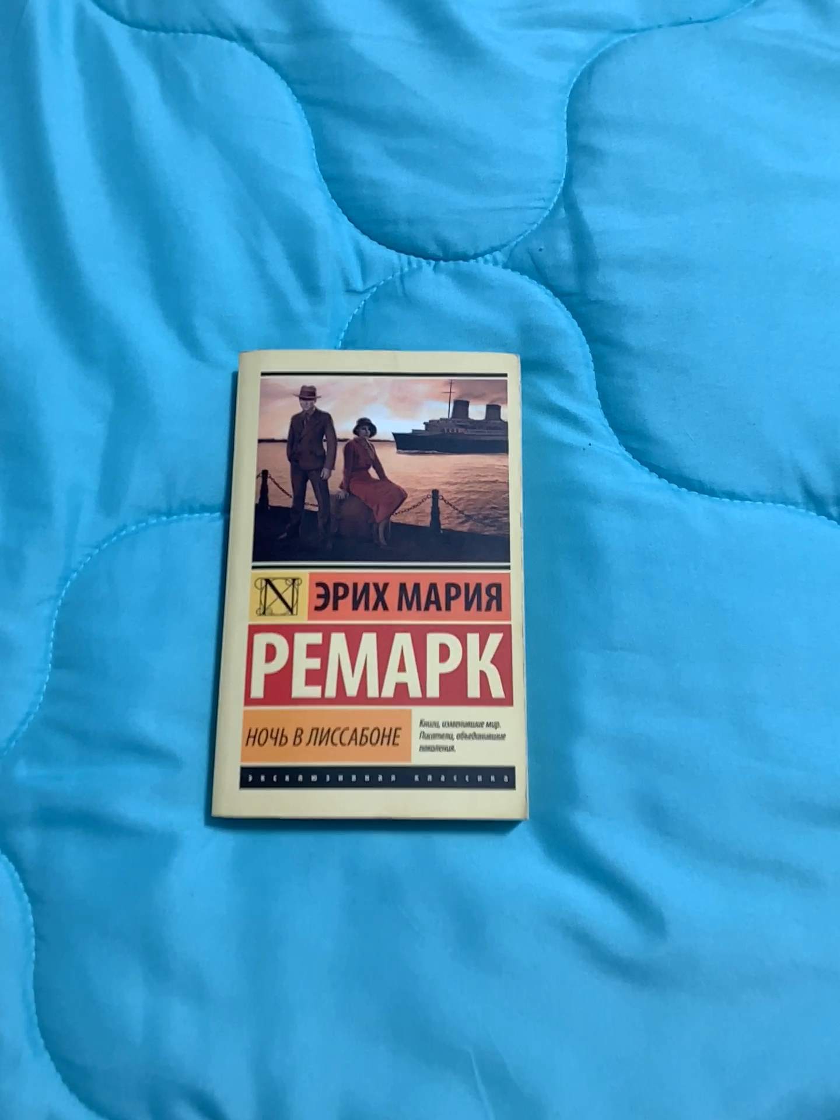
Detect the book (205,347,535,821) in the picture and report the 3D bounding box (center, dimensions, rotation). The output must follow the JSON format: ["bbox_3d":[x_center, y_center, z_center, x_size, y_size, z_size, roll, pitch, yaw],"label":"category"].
[{"bbox_3d":[-0.017,0.006,0.319,0.112,0.020,0.172,0,78,-1],"label":"book"}]
